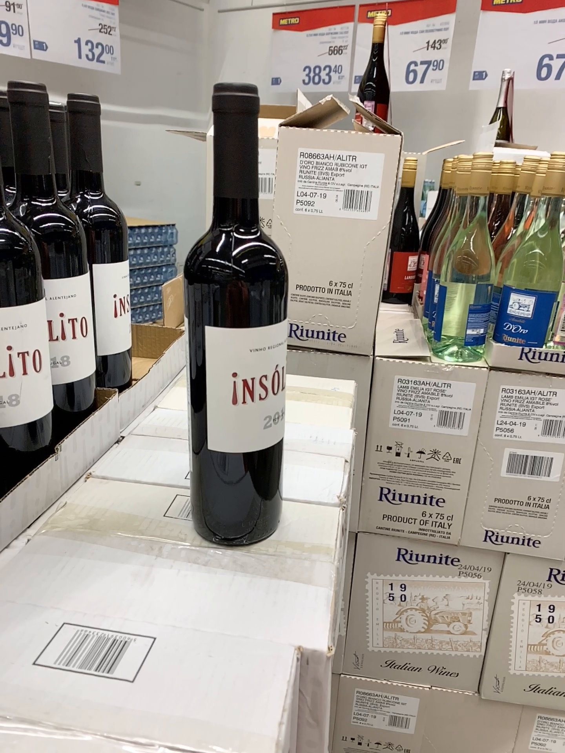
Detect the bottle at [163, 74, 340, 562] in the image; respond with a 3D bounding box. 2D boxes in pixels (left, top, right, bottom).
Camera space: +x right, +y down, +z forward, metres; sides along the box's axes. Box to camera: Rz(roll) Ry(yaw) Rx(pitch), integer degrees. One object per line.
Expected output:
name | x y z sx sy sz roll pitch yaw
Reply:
bottle | -0.028 -0.034 0.411 0.080 0.310 0.077 3 19 -1
